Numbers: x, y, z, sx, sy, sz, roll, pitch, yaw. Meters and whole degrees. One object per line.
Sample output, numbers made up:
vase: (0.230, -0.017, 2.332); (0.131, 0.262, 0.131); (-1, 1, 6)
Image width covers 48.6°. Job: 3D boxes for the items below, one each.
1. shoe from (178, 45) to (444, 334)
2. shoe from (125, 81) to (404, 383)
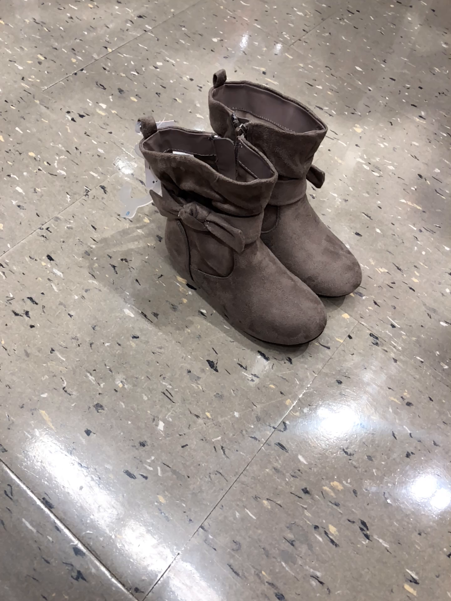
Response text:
shoe: (0.057, -0.094, 0.457); (0.200, 0.160, 0.080); (41, 64, 15)
shoe: (0.017, -0.051, 0.429); (0.200, 0.160, 0.080); (41, 64, 15)
